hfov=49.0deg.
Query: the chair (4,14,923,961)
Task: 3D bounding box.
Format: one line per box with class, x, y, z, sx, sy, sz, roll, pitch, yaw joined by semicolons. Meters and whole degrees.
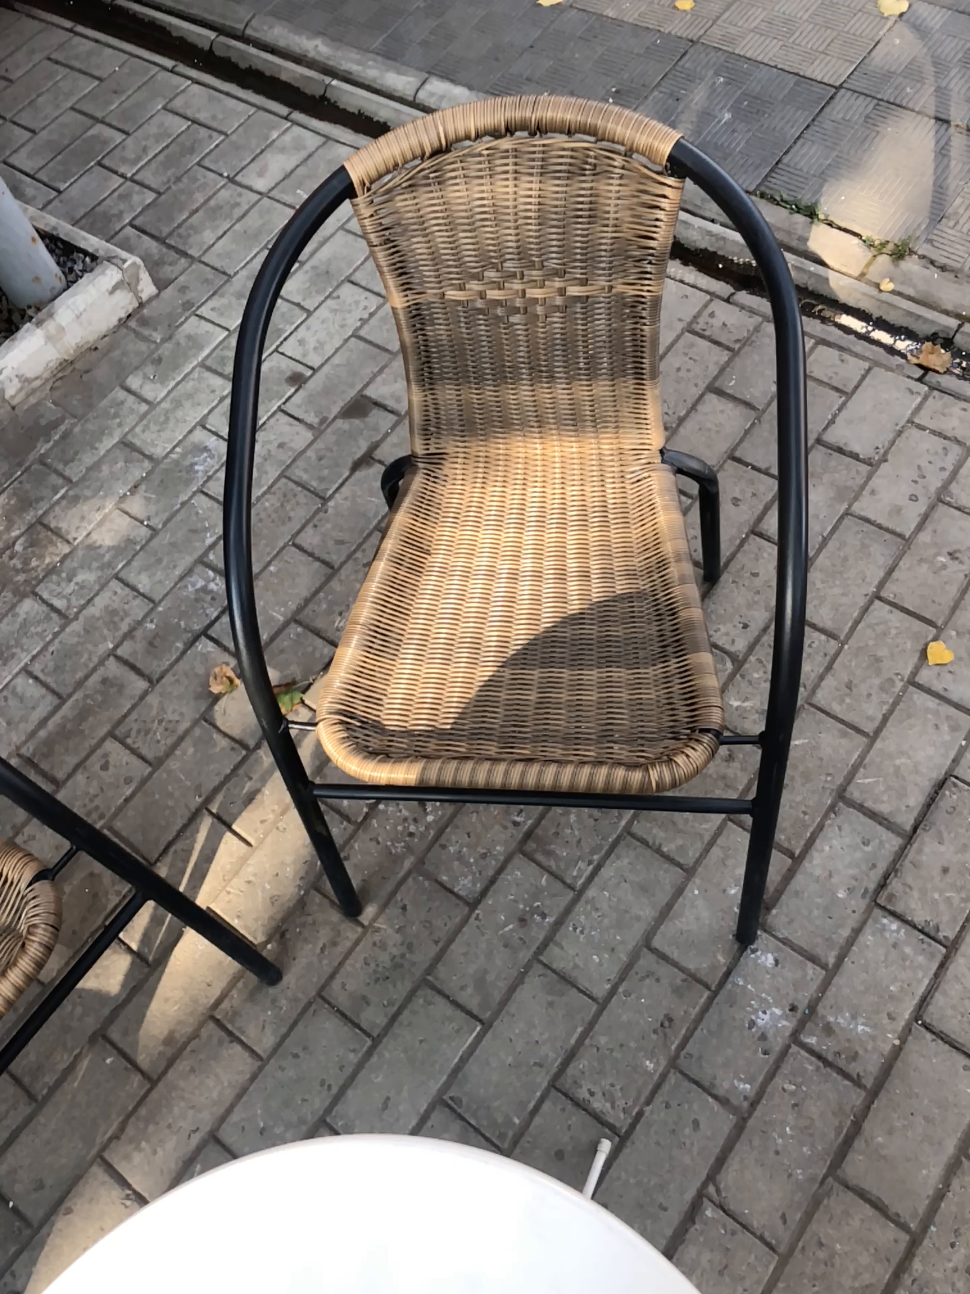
chair;0.047;-0.091;1.042;0.540;0.669;0.591;2;61;10
